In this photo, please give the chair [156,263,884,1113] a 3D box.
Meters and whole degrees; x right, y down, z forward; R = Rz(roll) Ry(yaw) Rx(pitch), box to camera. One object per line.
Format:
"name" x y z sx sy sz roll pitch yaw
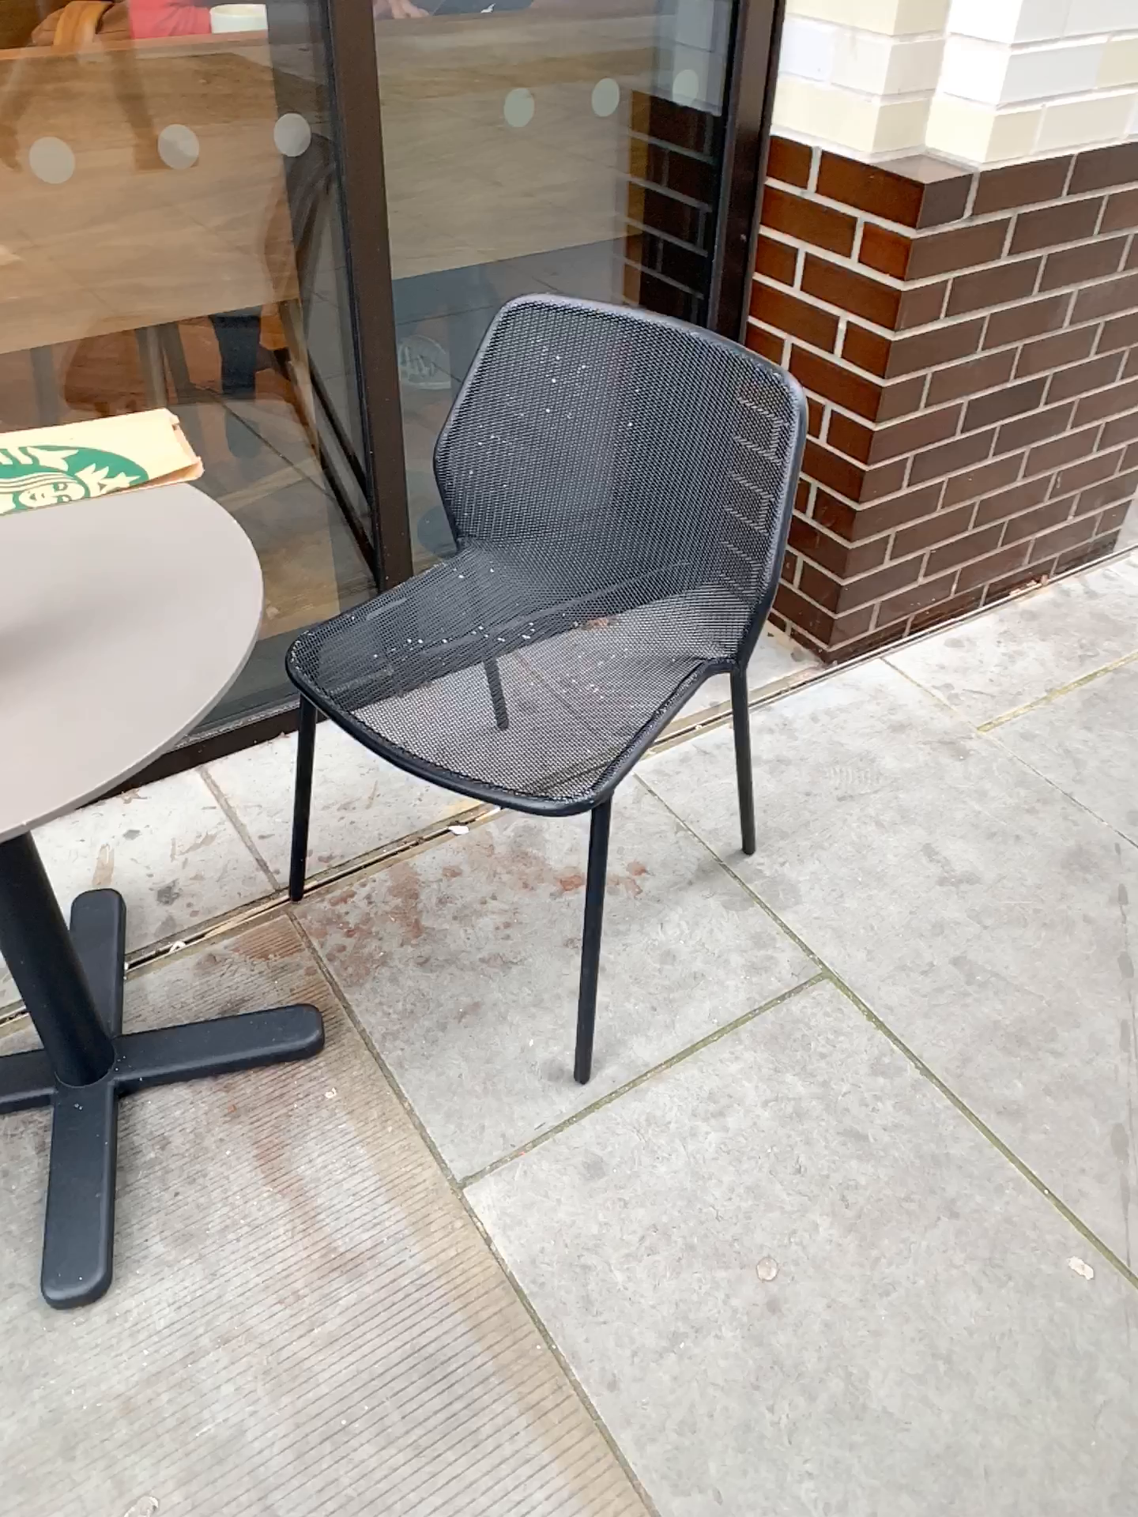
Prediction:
"chair" -0.050 -0.109 1.519 0.591 0.797 0.543 25 45 25
